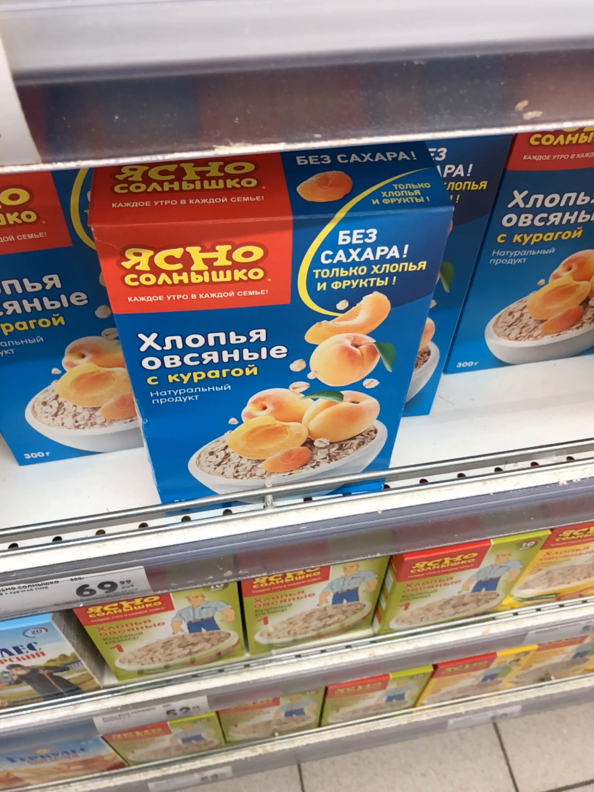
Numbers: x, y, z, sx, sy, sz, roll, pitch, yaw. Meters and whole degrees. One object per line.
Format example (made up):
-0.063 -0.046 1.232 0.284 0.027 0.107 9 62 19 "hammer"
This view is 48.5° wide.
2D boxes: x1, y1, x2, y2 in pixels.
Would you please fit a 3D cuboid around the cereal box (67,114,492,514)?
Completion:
-0.009 -0.023 0.328 0.150 0.209 0.050 -6 52 -6 "cereal box"
